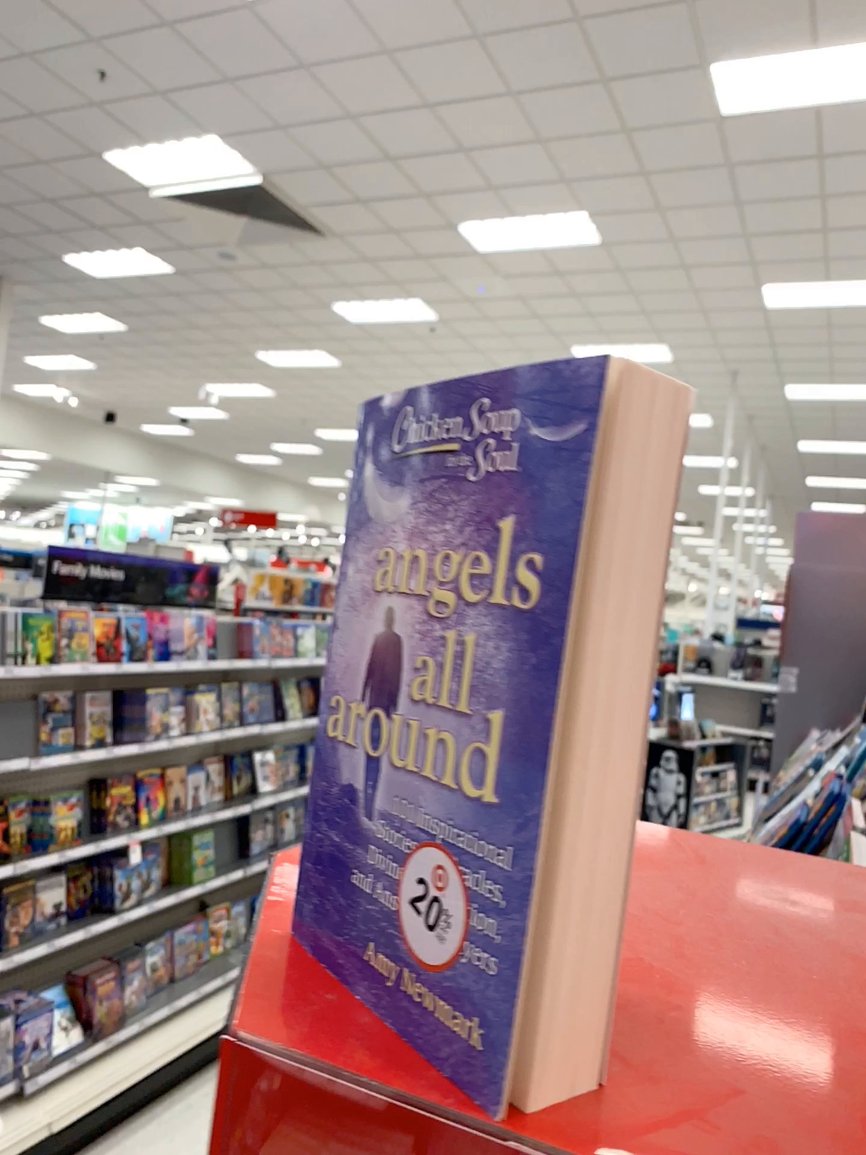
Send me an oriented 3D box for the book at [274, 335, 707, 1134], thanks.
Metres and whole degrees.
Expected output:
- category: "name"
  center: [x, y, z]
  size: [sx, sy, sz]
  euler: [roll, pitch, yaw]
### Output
- category: "book"
  center: [0.010, 0.039, 0.307]
  size: [0.041, 0.211, 0.142]
  euler: [11, -4, -33]
